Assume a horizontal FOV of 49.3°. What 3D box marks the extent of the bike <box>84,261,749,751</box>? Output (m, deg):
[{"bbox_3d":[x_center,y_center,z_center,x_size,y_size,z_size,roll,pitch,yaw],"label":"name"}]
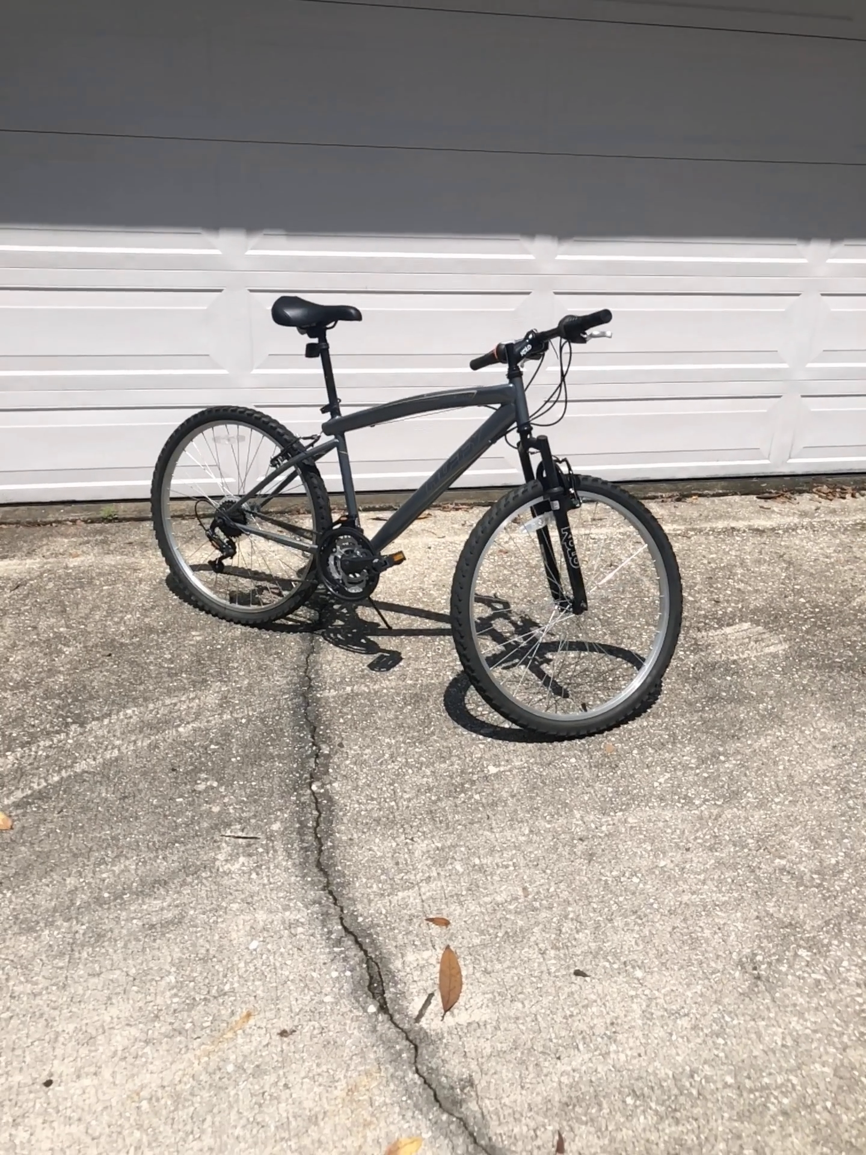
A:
[{"bbox_3d":[-0.030,-0.279,2.744,1.530,0.981,0.682,13,25,16],"label":"bike"}]
